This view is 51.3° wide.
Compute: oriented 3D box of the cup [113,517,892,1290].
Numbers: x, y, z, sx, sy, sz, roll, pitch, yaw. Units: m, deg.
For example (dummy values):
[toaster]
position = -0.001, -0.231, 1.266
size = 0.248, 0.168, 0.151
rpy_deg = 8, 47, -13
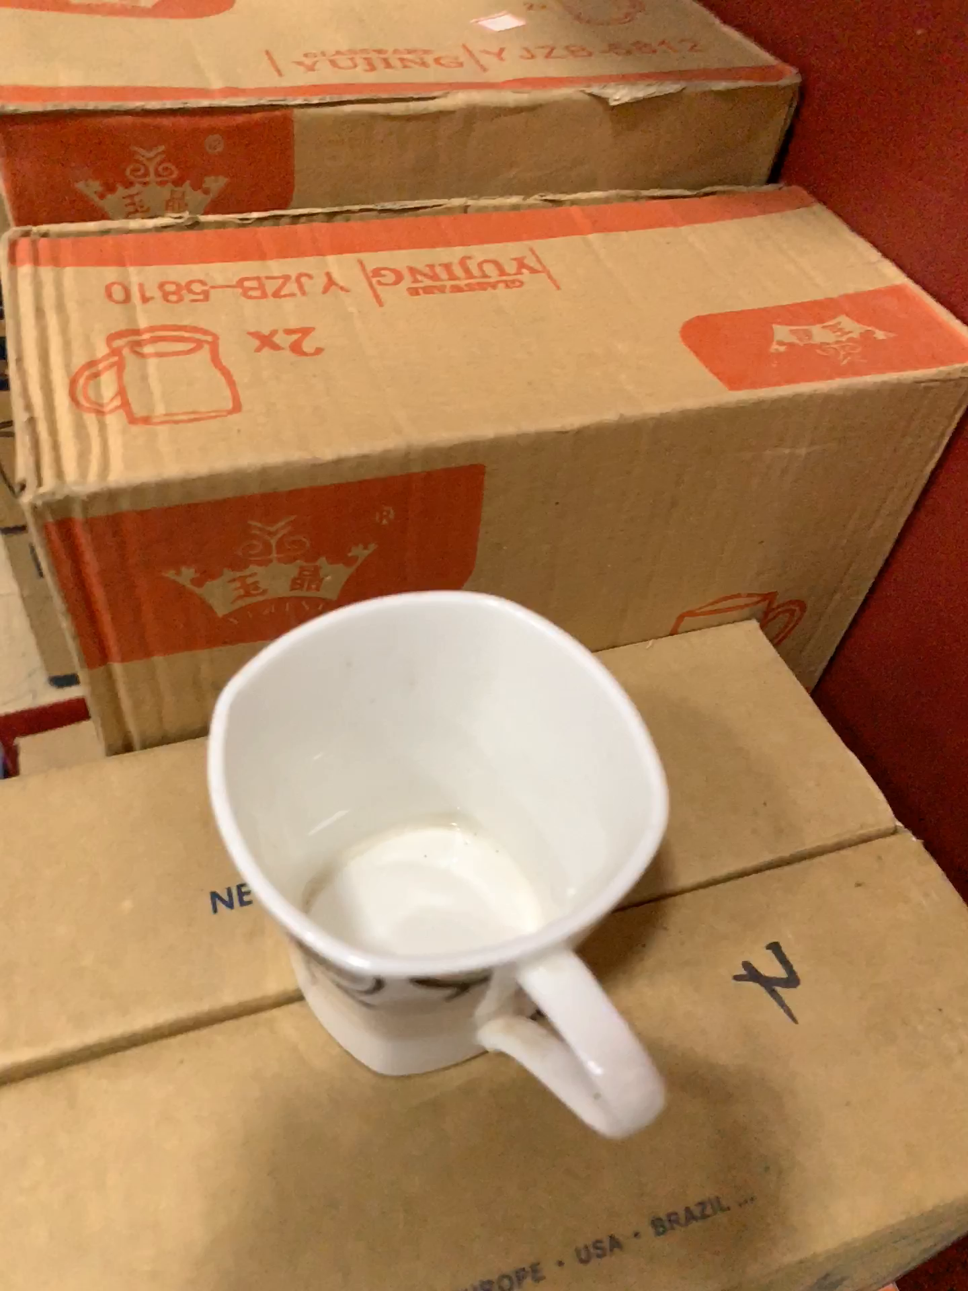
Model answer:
[cup]
position = -0.004, 0.039, 0.154
size = 0.060, 0.060, 0.090
rpy_deg = -26, 55, -26
